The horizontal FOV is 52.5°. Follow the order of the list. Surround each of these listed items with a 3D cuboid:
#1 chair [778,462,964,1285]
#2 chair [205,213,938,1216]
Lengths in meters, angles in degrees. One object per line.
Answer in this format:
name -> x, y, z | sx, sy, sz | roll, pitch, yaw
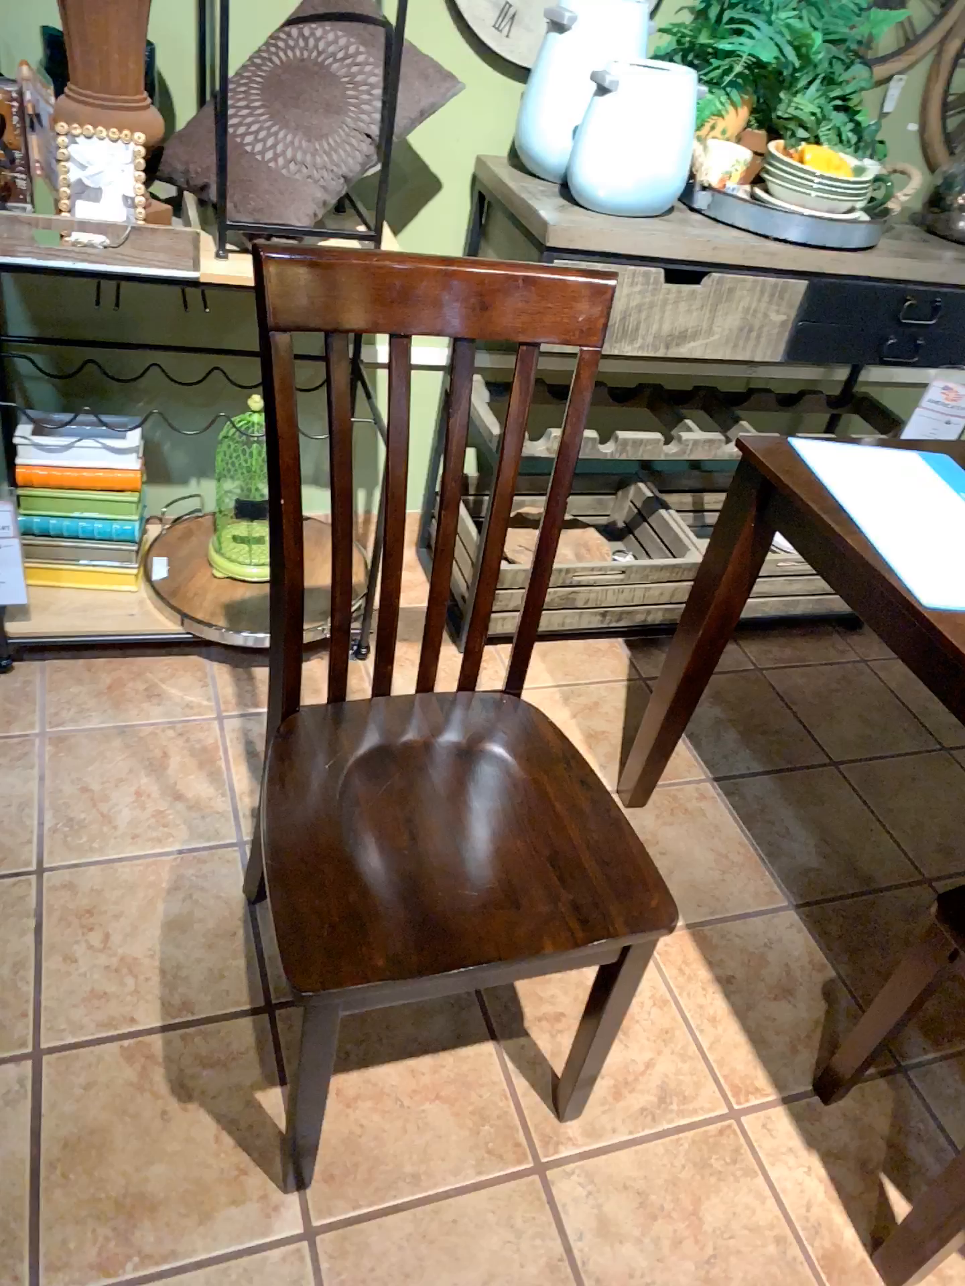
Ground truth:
chair -> 0.832, 0.387, 1.022 | 0.462, 0.946, 0.576 | -9, 42, -26
chair -> -0.050, 0.100, 1.140 | 0.461, 0.936, 0.587 | -4, 40, -21
